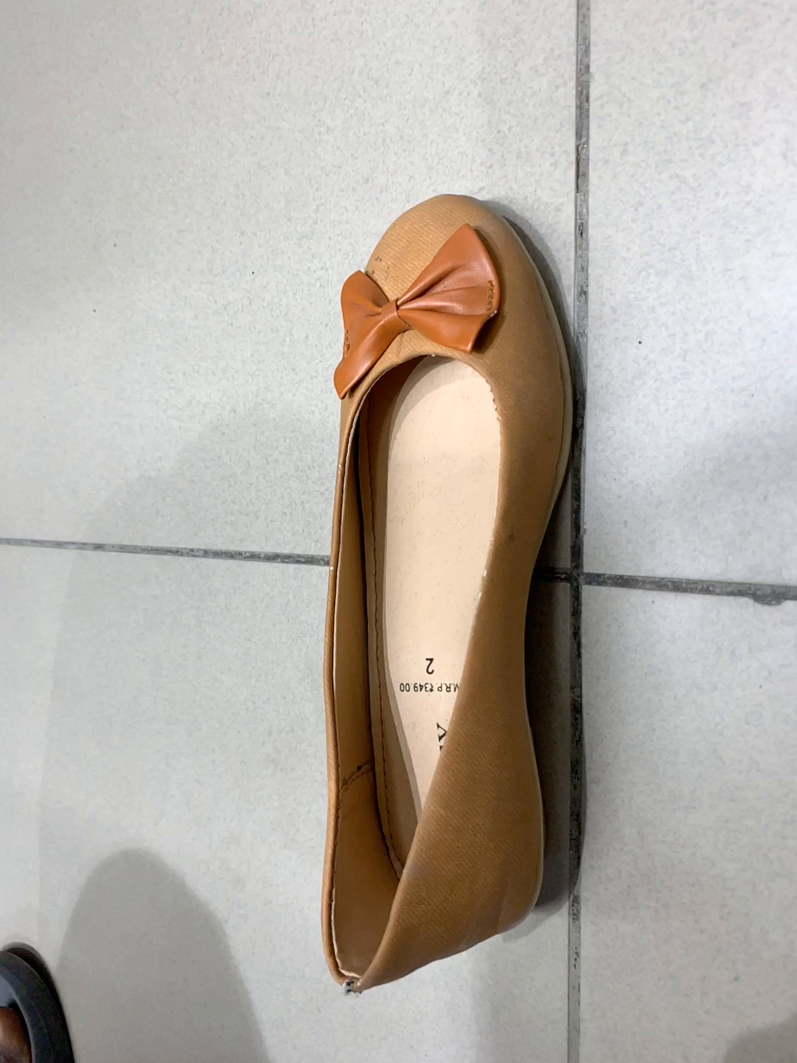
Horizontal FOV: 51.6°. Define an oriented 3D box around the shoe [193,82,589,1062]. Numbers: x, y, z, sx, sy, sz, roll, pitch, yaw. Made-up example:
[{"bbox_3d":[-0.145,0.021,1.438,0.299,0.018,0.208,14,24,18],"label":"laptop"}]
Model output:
[{"bbox_3d":[-0.001,0.014,0.229,0.080,0.070,0.220,0,91,39],"label":"shoe"}]
